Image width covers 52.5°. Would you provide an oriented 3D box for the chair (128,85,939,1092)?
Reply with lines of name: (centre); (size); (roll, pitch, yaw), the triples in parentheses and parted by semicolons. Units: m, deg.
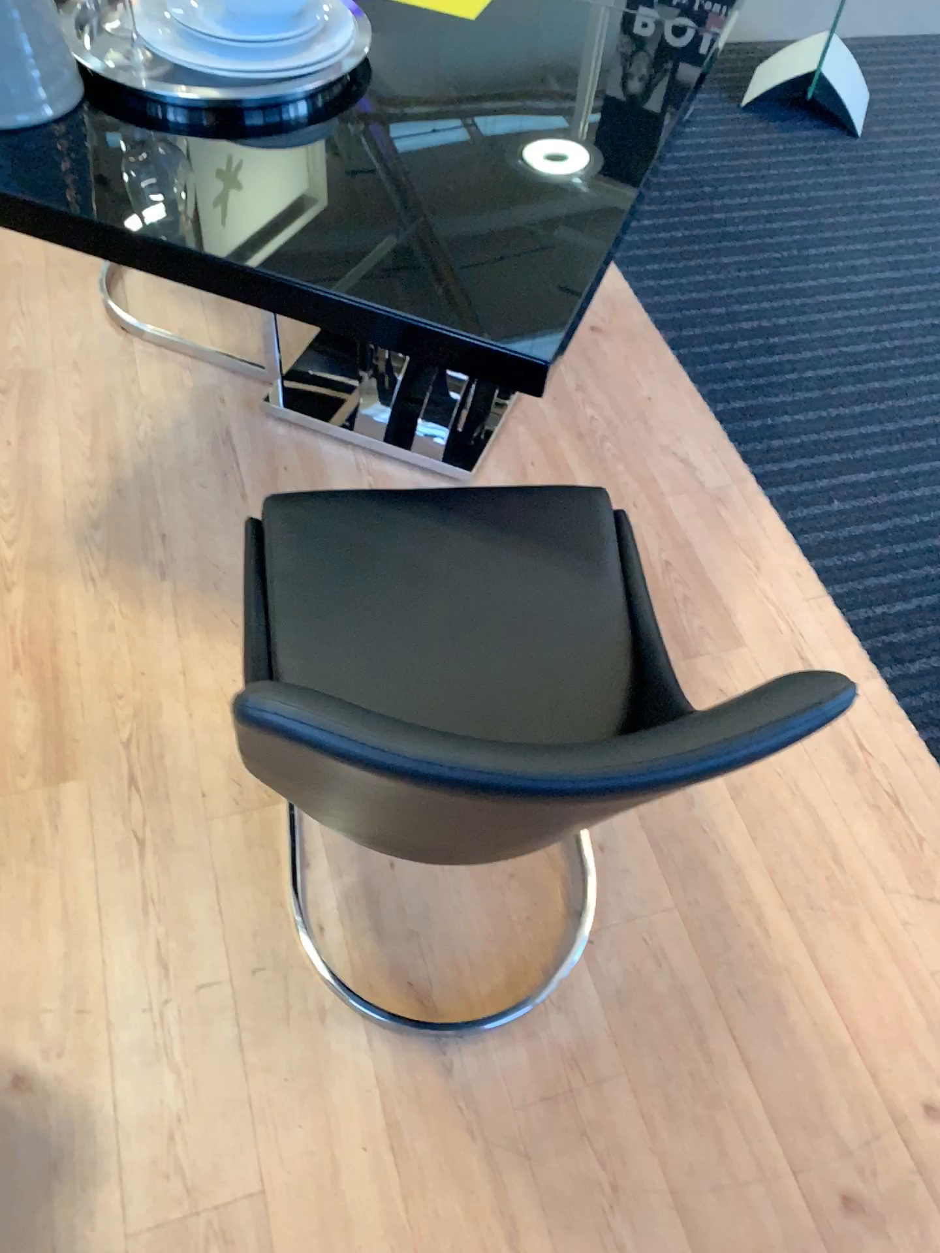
chair: (0.014, 0.016, 0.987); (0.506, 0.813, 0.634); (-4, 53, -9)
